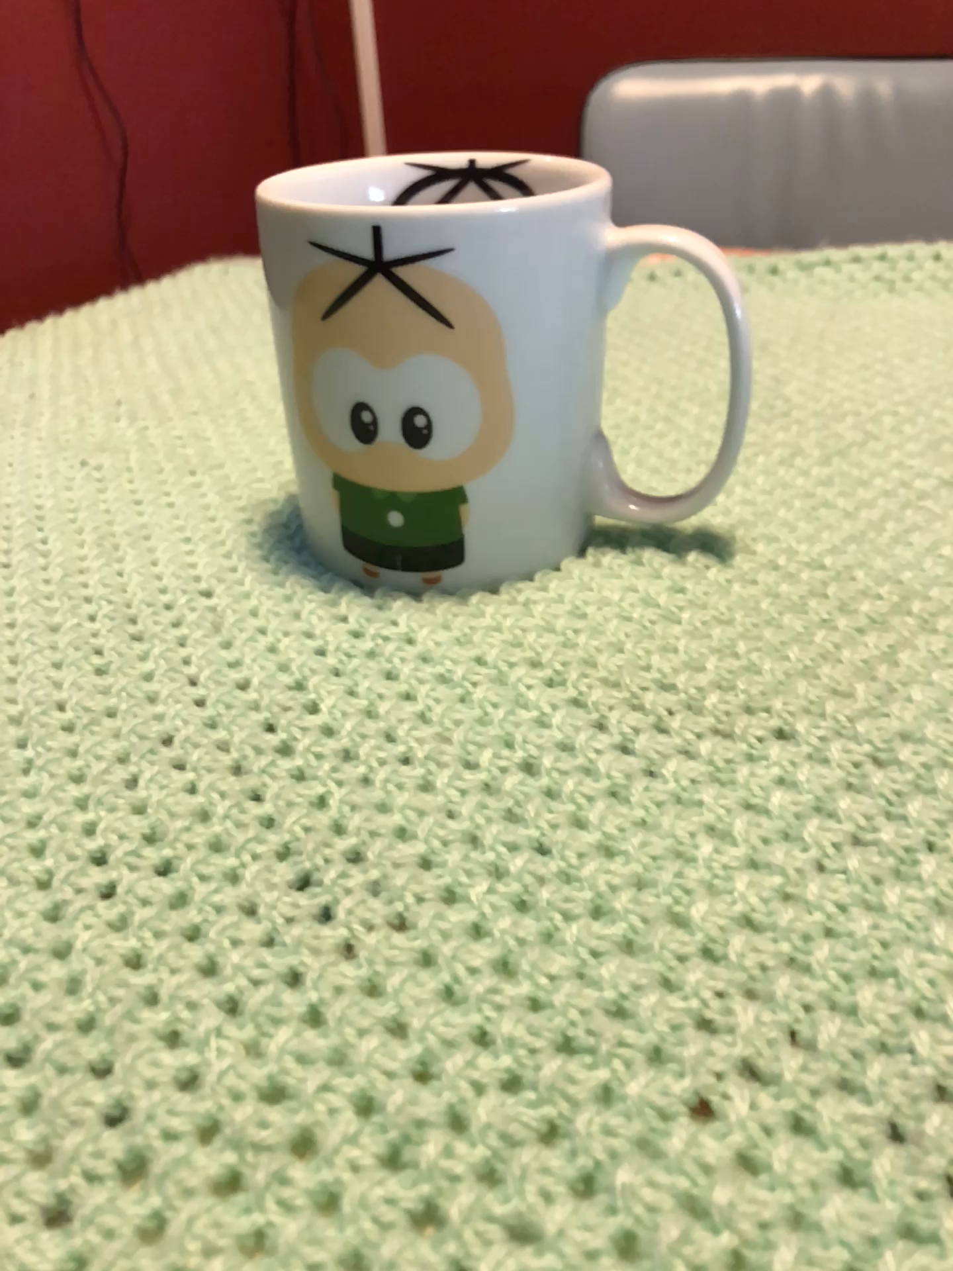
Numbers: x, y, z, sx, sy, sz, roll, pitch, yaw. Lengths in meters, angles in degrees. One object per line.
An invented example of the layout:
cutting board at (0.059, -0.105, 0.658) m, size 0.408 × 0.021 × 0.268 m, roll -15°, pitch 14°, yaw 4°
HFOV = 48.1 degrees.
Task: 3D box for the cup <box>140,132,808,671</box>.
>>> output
cup at (0.007, -0.066, 0.270) m, size 0.130 × 0.099 × 0.091 m, roll 8°, pitch 33°, yaw 19°
